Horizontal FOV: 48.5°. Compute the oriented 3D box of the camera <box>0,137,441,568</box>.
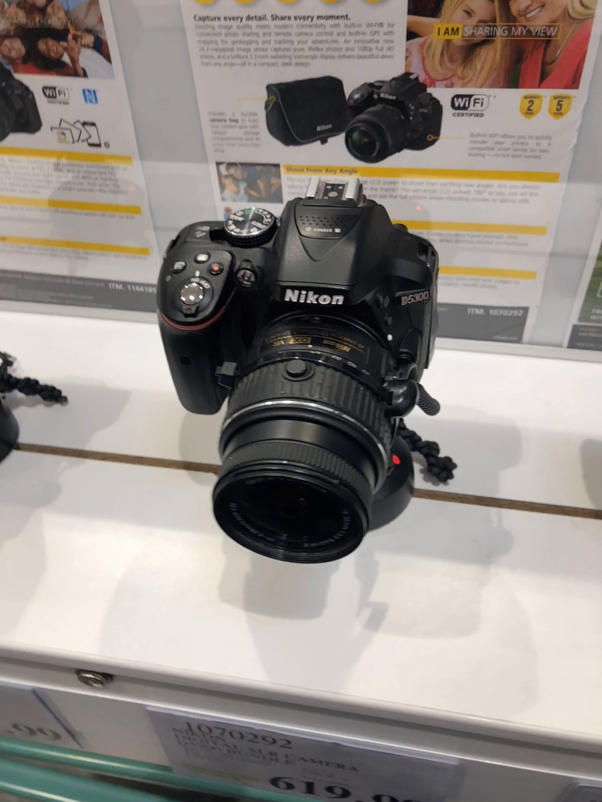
[{"bbox_3d":[-0.014,-0.029,0.273,0.130,0.089,0.151,4,47,7],"label":"camera"}]
